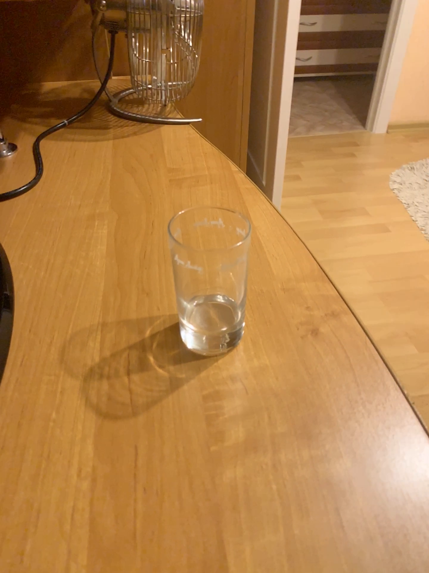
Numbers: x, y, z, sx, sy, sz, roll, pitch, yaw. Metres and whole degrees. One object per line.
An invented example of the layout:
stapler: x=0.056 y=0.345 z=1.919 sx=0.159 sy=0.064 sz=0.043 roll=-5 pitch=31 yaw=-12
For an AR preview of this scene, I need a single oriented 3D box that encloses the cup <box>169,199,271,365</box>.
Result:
cup: x=0.002 y=-0.002 z=0.314 sx=0.060 sy=0.099 sz=0.061 roll=0 pitch=40 yaw=0
